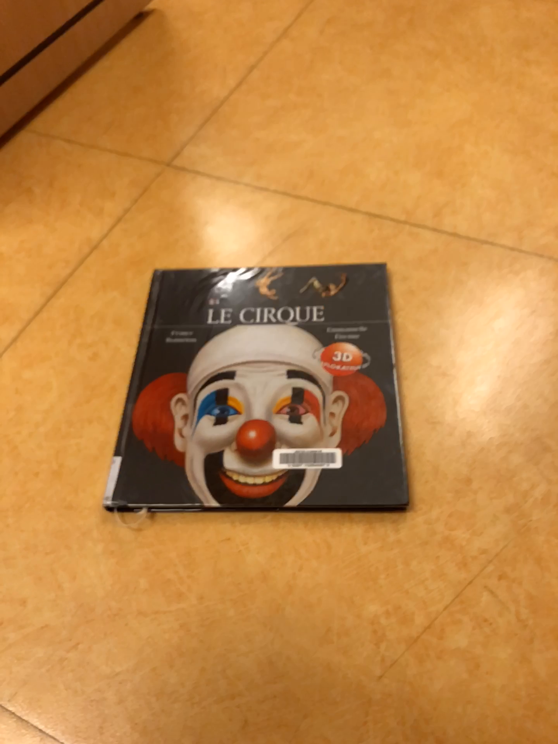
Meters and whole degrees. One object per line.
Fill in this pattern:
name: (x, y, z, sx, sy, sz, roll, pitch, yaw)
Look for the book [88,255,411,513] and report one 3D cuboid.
book: (-0.017, -0.003, 0.482, 0.214, 0.012, 0.234, -1, 54, 4)
